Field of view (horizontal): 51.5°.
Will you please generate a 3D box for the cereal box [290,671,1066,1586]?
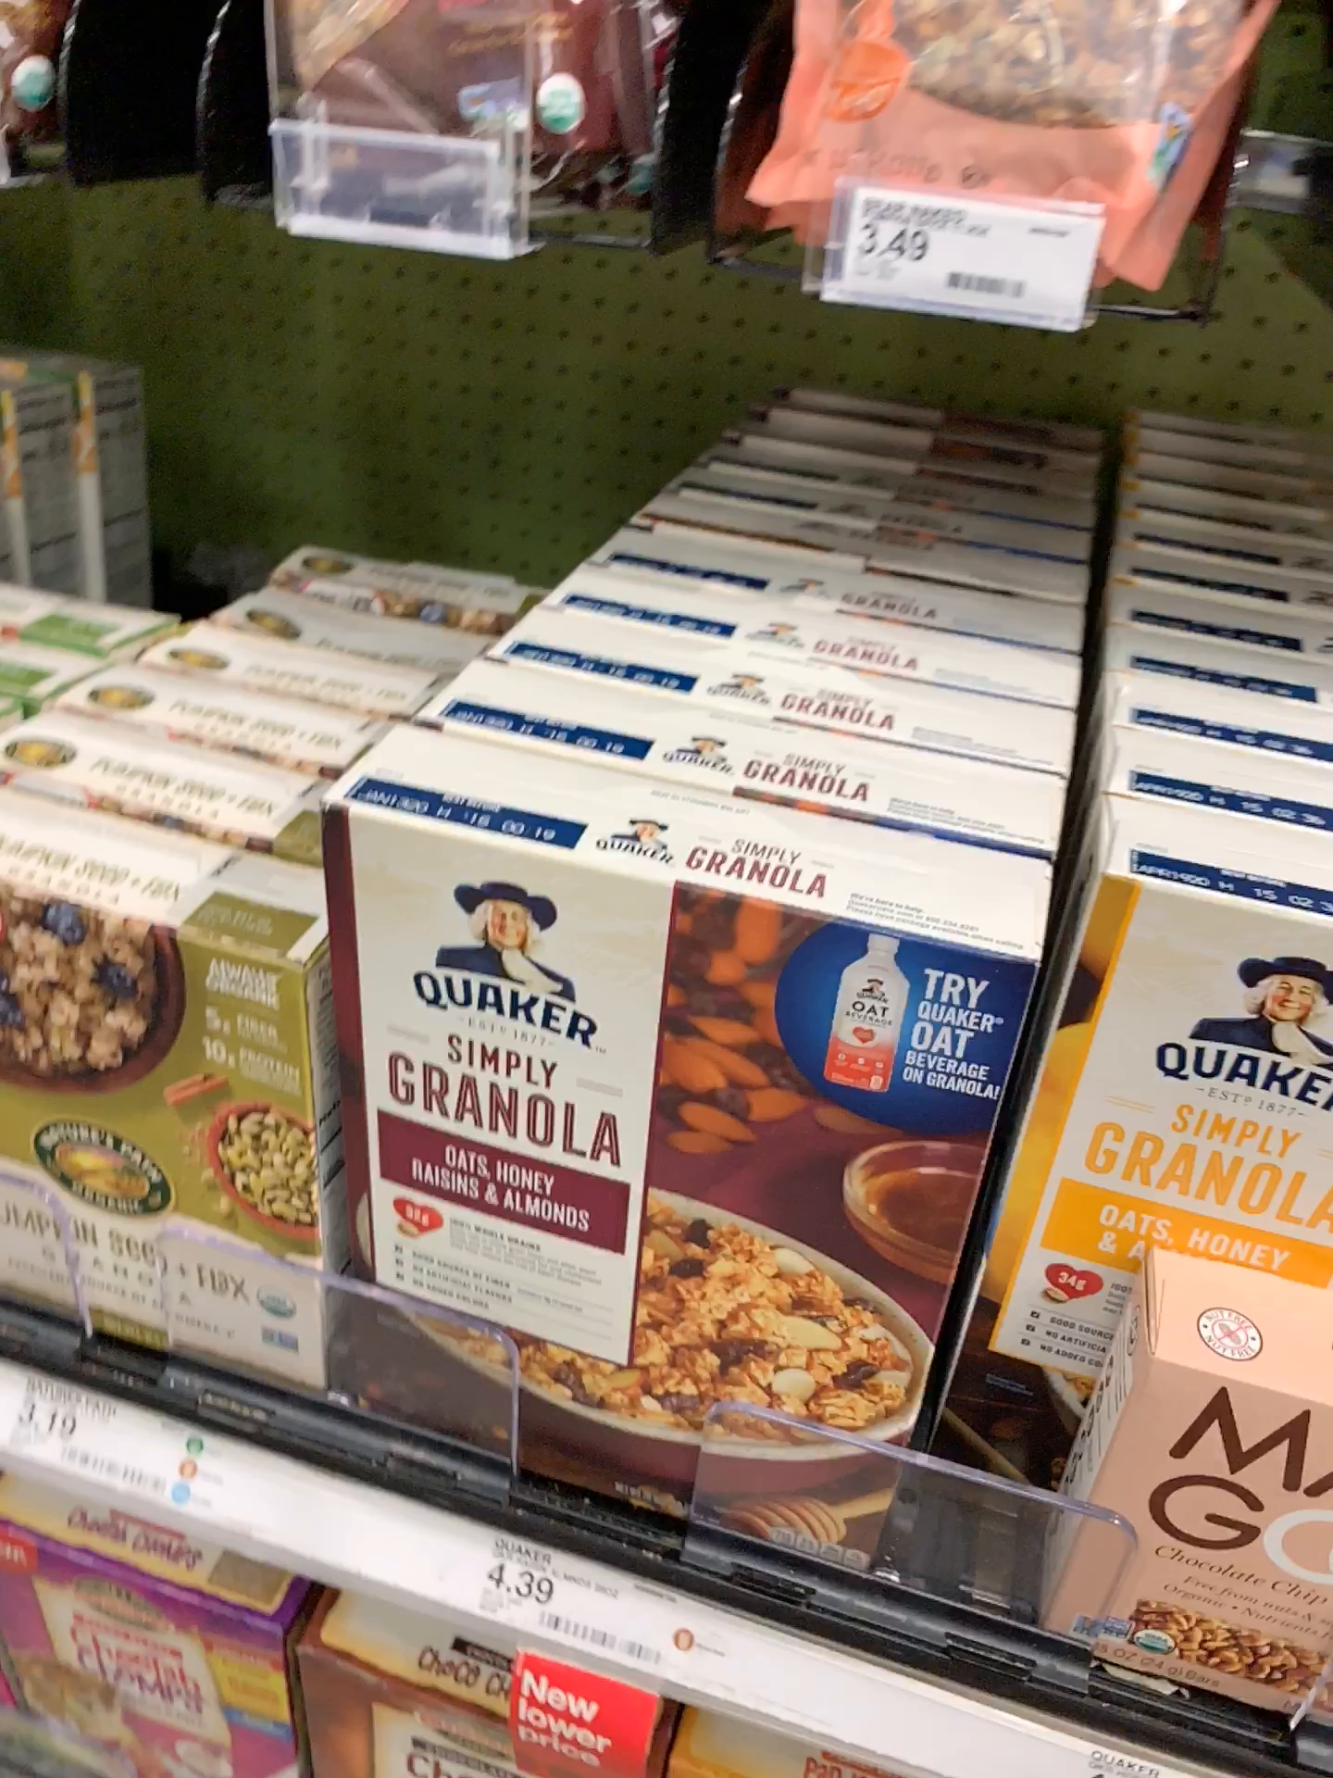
[{"bbox_3d":[-0.005,0.079,0.404,0.180,0.249,0.060,13,34,11],"label":"cereal box"}]
